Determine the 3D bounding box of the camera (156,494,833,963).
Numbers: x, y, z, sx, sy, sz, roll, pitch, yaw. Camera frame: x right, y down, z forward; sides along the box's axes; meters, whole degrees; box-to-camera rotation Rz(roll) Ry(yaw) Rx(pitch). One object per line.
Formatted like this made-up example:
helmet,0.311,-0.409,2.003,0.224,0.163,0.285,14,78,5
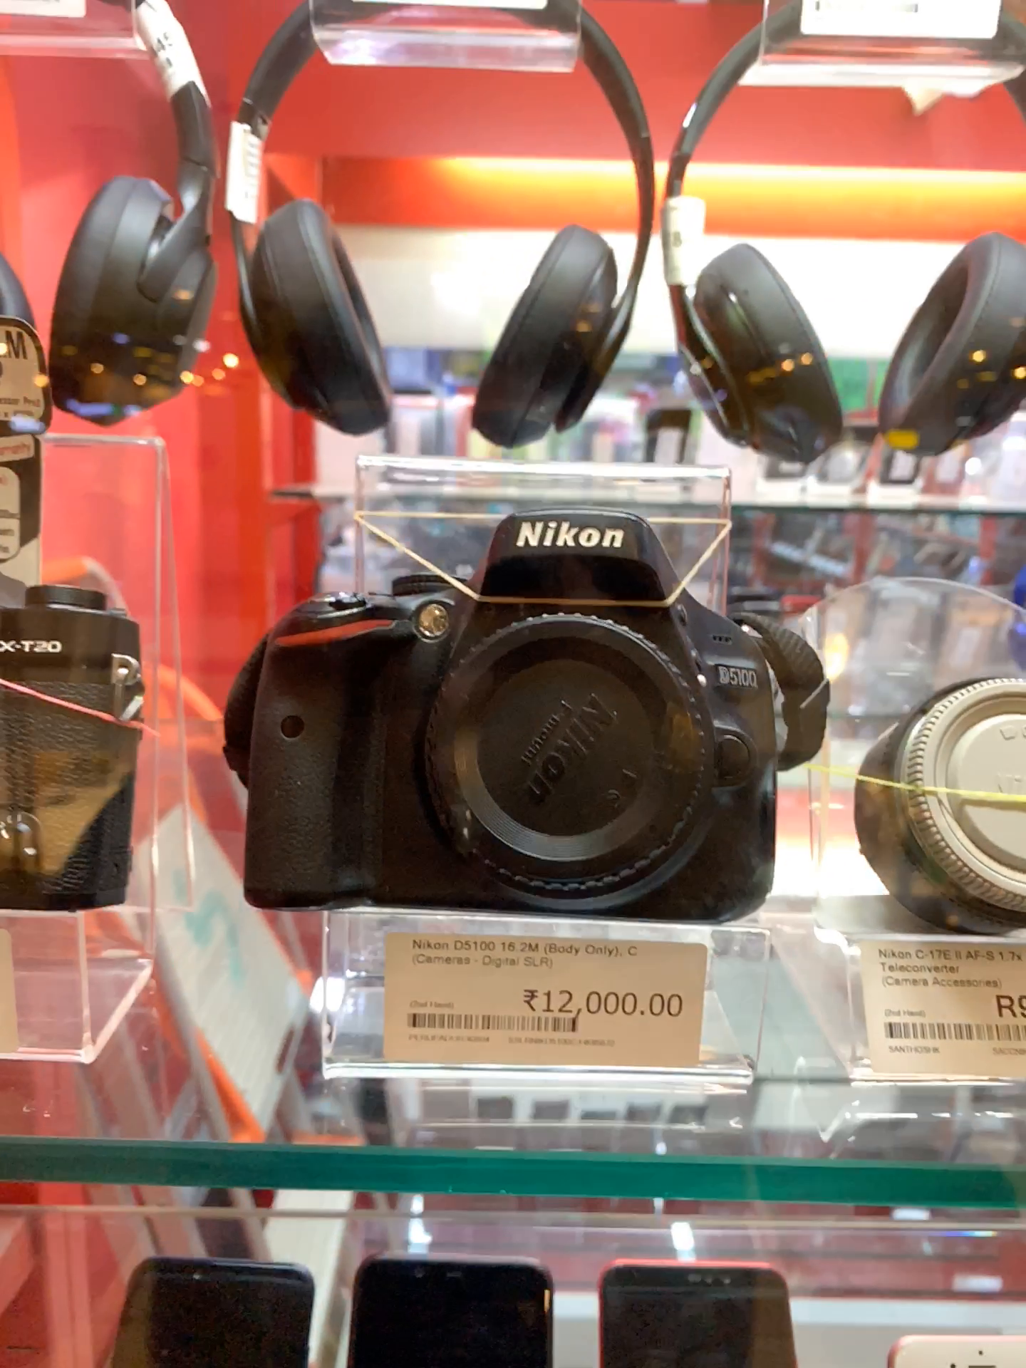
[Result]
camera,-0.005,0.005,0.248,0.130,0.090,0.070,2,12,0
